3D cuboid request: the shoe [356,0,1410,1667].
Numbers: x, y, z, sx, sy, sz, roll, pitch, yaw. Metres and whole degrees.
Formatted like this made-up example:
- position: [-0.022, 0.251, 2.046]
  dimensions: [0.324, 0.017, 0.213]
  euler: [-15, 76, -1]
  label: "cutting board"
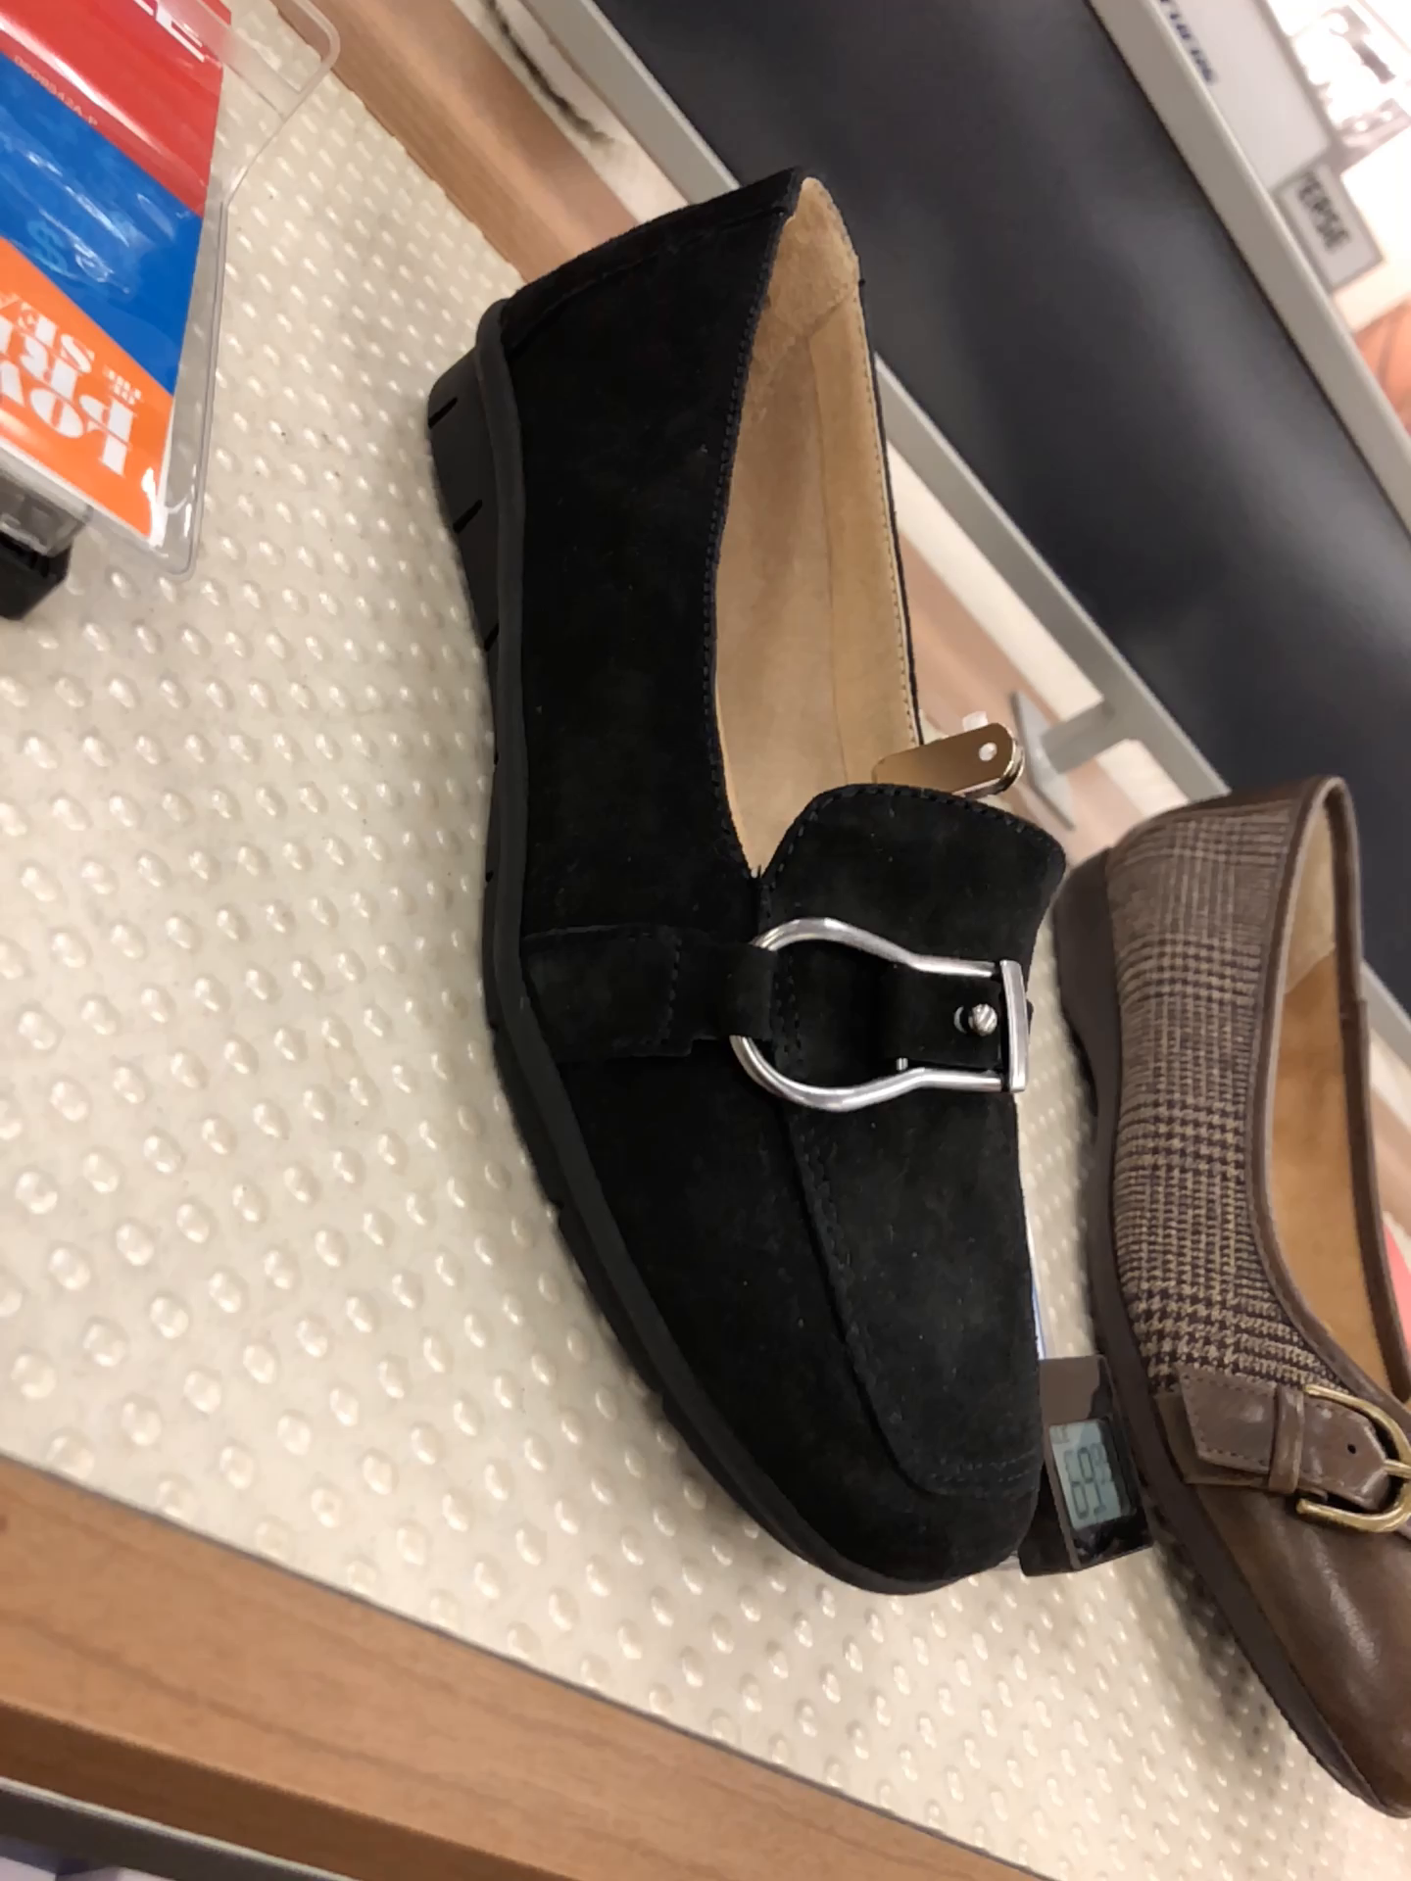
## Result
- position: [0.018, -0.026, 0.251]
  dimensions: [0.080, 0.079, 0.238]
  euler: [21, 46, -50]
  label: "shoe"
